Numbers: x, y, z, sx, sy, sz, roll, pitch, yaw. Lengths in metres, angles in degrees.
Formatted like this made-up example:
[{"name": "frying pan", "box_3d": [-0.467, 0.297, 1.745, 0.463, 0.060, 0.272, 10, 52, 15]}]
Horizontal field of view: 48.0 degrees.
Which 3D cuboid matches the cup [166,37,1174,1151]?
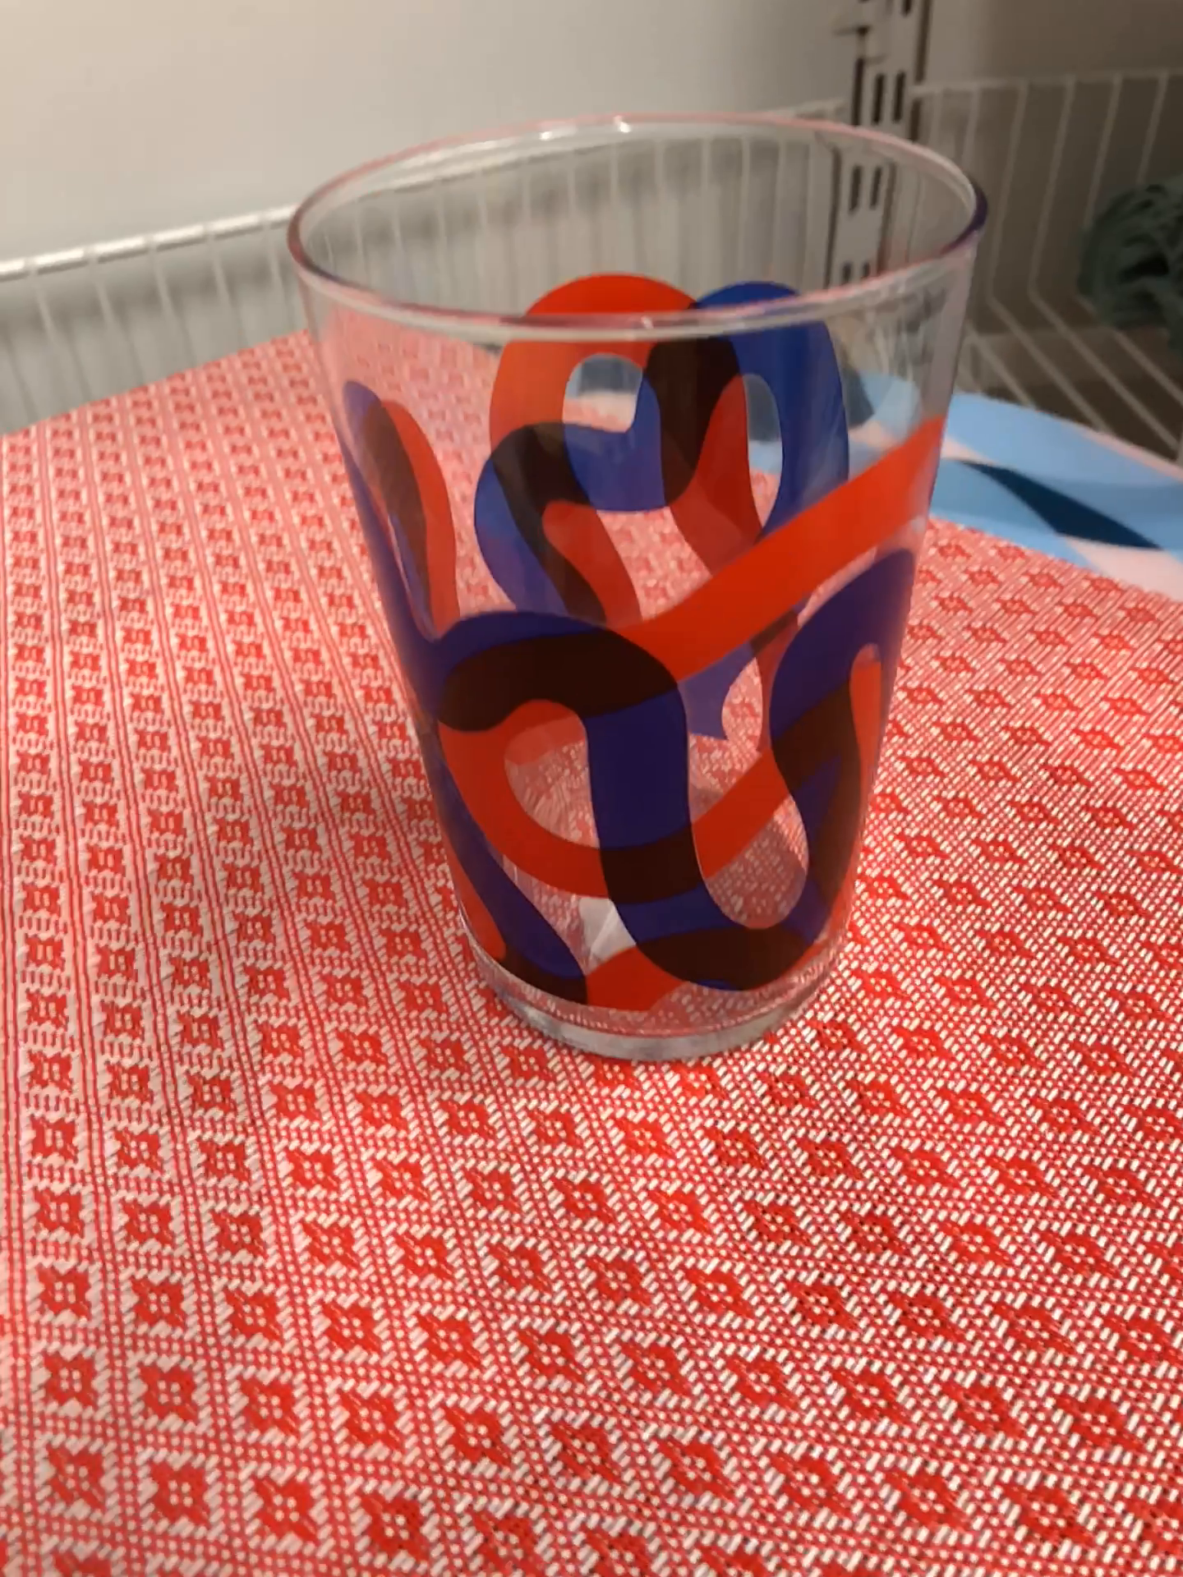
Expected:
[{"name": "cup", "box_3d": [0.007, -0.033, 0.202, 0.090, 0.120, 0.090, -2, 40, 2]}]
